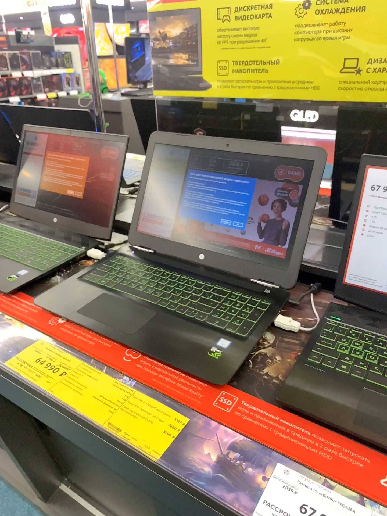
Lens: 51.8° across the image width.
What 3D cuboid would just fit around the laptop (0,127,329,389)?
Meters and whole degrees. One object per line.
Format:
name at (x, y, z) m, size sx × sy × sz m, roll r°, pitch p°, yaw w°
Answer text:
laptop at (-0.025, -0.061, 0.690) m, size 0.385 × 0.223 × 0.380 m, roll 15°, pitch 33°, yaw 29°
